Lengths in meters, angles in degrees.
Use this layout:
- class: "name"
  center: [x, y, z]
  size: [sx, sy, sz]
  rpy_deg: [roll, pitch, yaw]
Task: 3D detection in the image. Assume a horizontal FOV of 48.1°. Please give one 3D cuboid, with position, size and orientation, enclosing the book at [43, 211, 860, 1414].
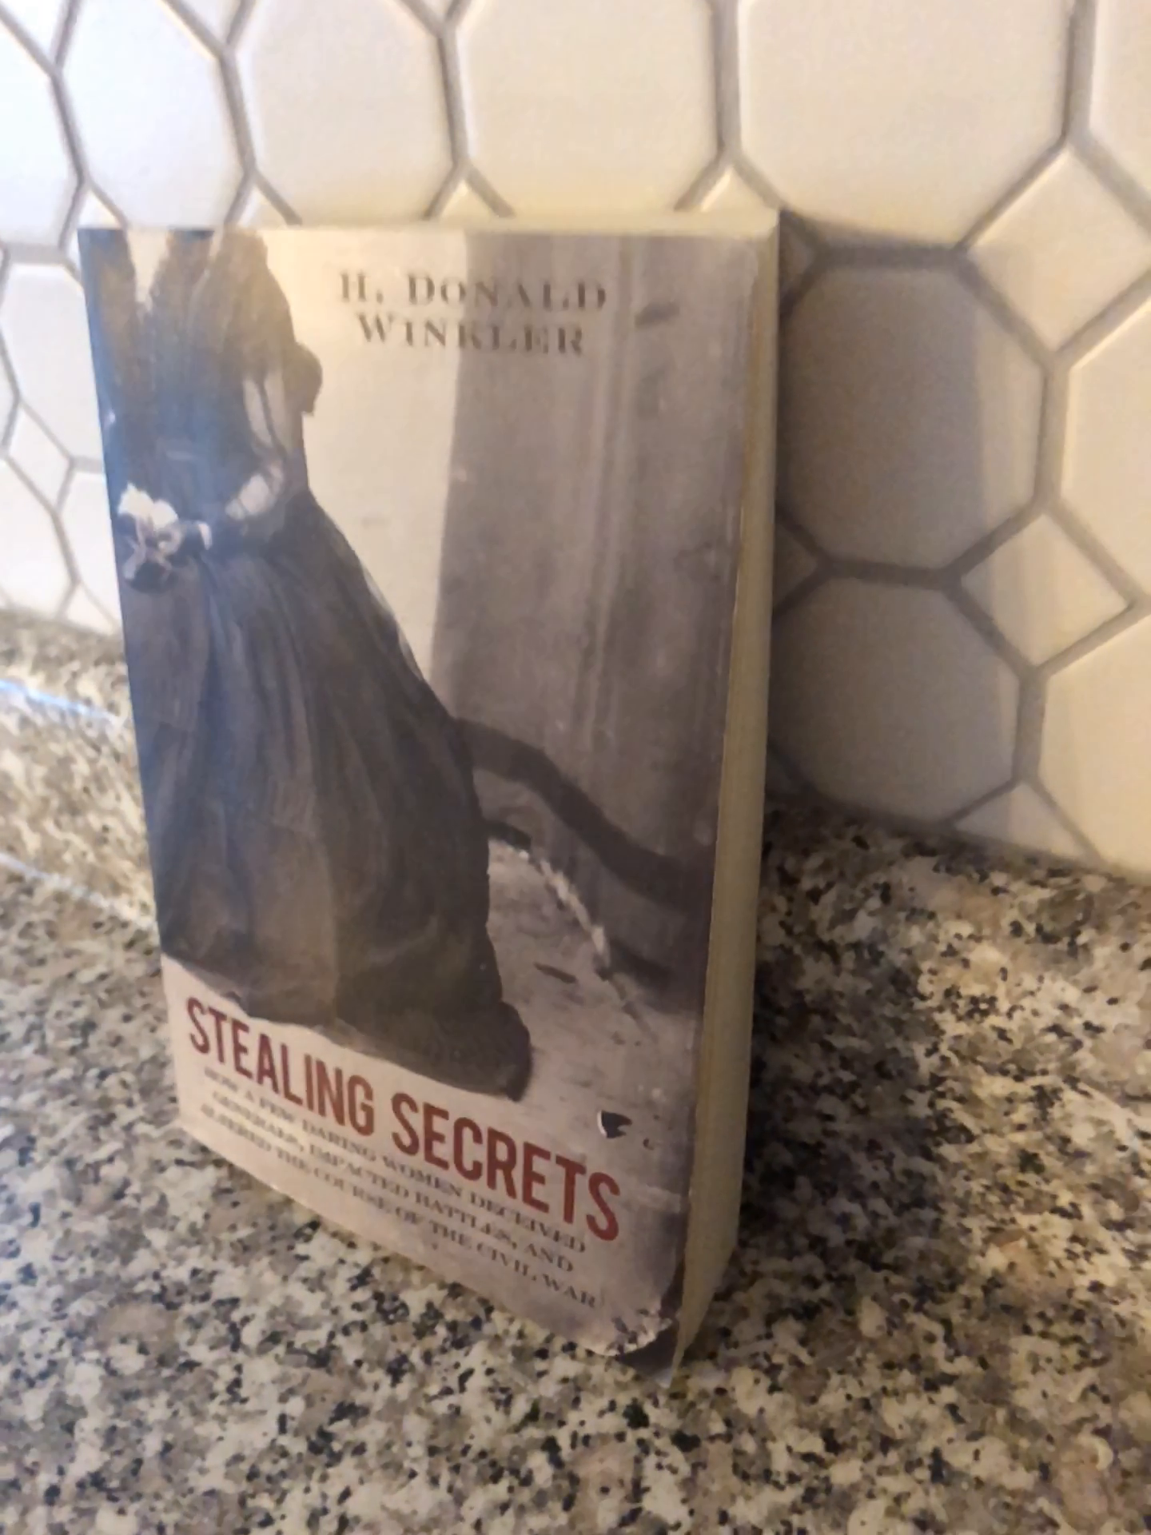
- class: "book"
  center: [-0.031, 0.004, 0.280]
  size: [0.162, 0.225, 0.041]
  rpy_deg: [13, 25, 31]
